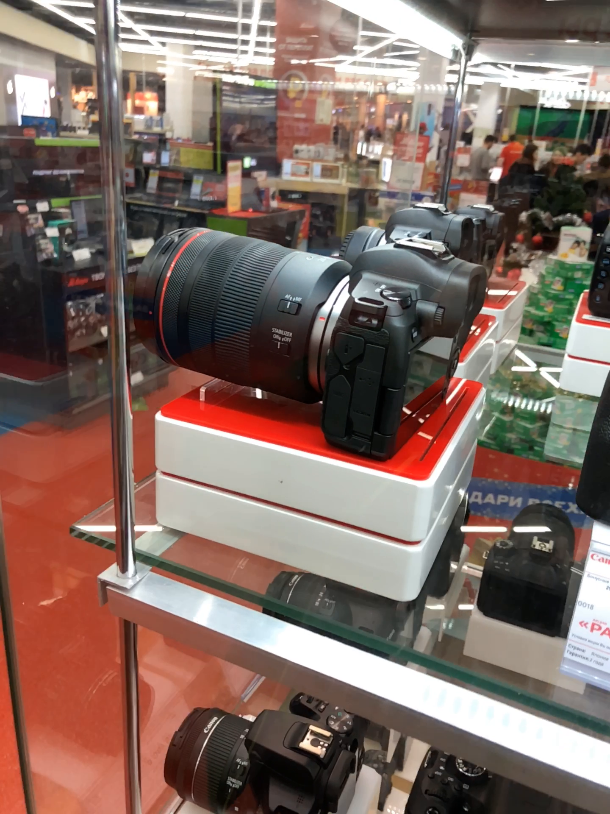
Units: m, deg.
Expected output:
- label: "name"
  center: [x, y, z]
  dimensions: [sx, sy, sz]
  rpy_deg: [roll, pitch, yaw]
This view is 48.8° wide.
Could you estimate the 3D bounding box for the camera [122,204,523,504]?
- label: "camera"
  center: [0.013, -0.048, 0.396]
  dimensions: [0.183, 0.110, 0.141]
  rpy_deg: [14, 24, 22]
